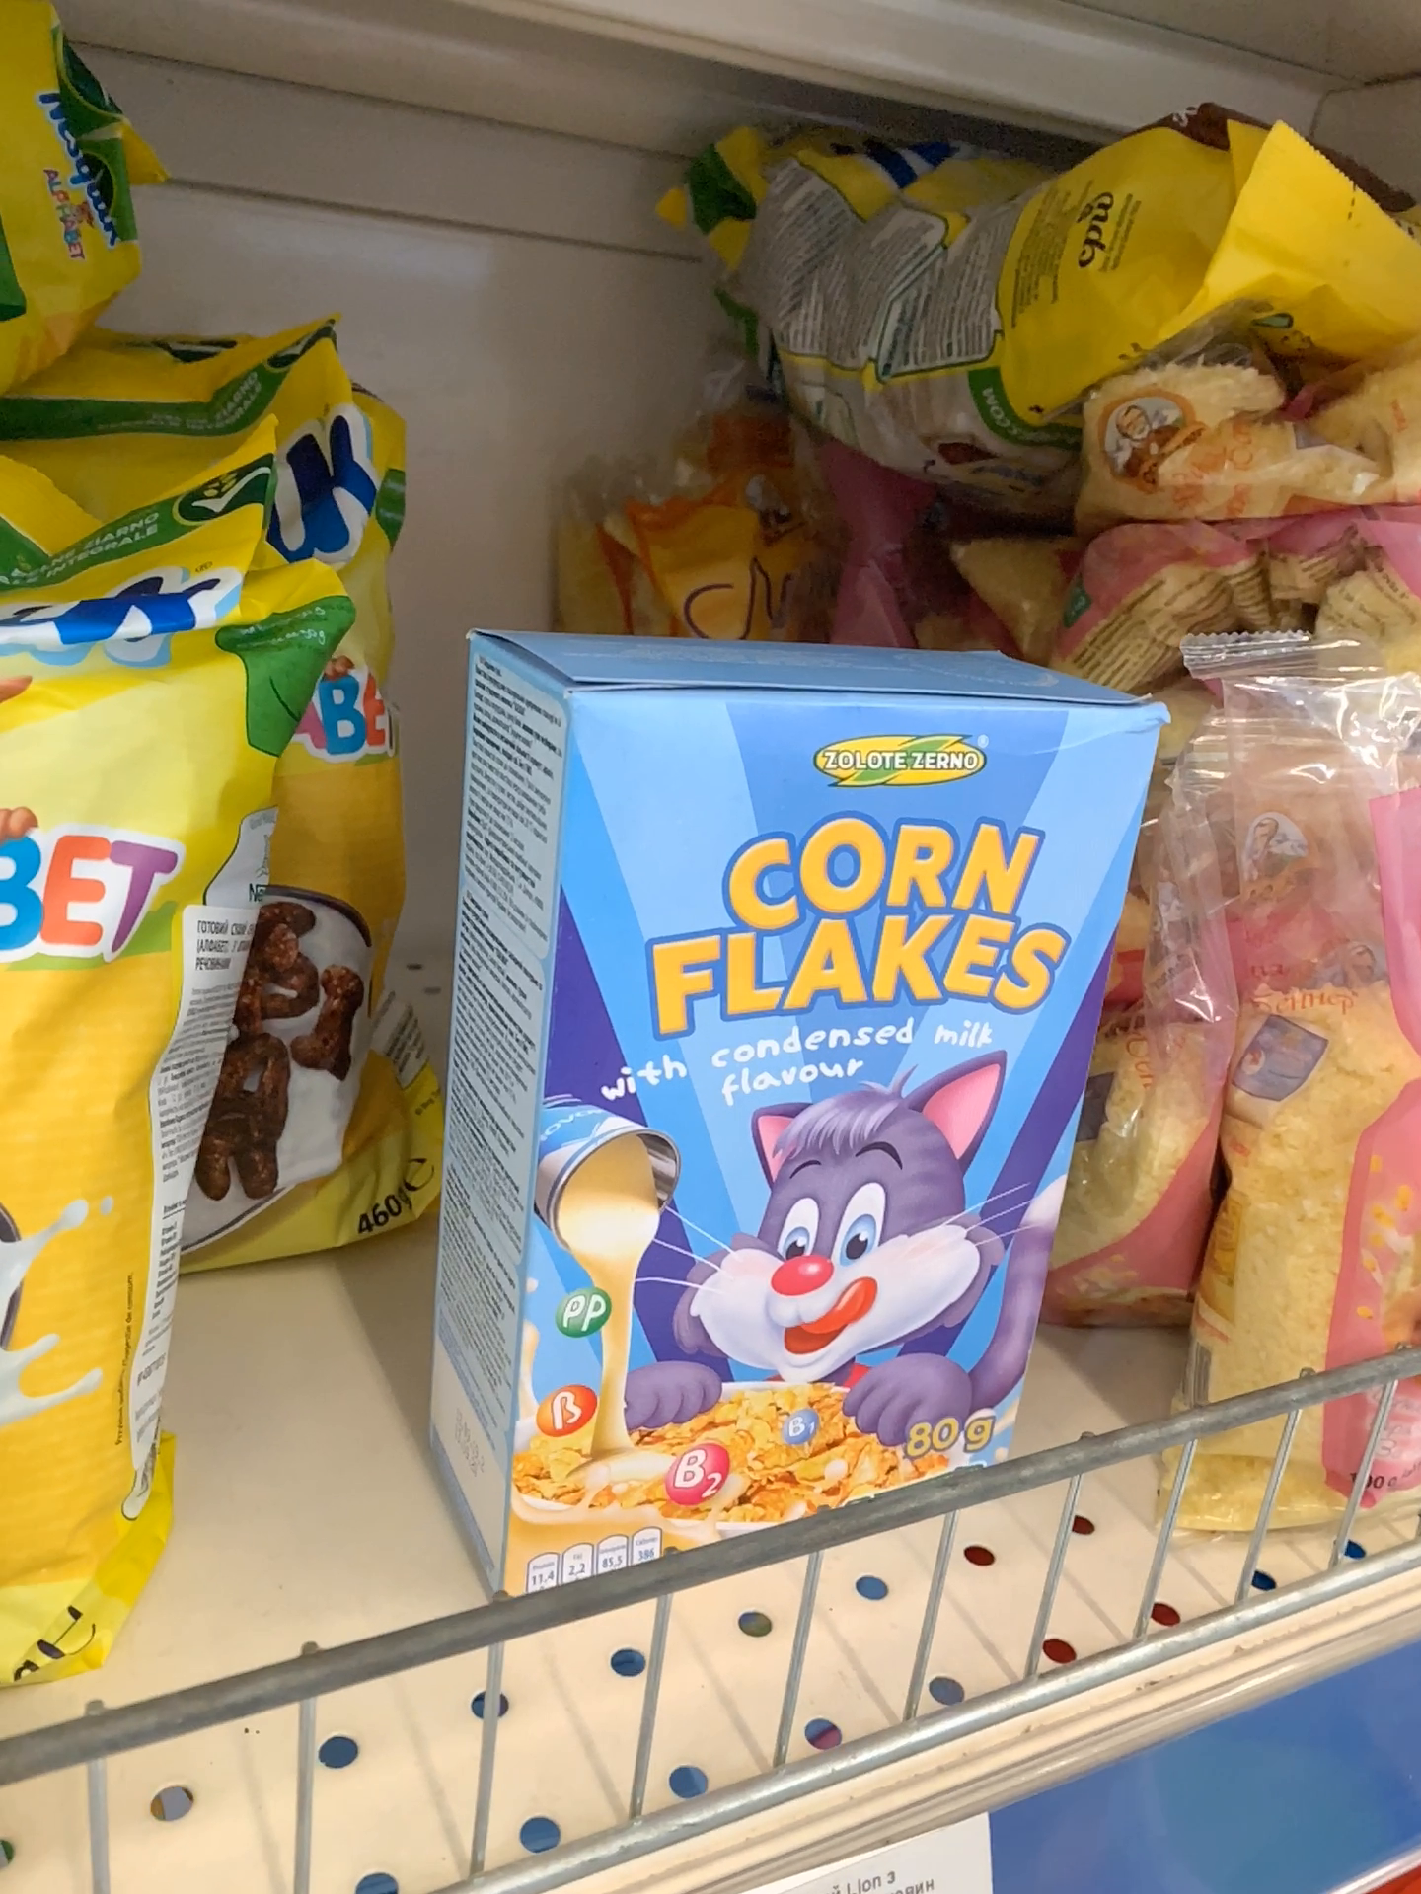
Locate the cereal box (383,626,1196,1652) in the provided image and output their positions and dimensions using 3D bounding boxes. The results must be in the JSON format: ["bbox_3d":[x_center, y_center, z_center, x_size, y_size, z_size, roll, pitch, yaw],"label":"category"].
[{"bbox_3d":[0.009,0.028,0.265,0.120,0.159,0.050,-4,21,-26],"label":"cereal box"}]
